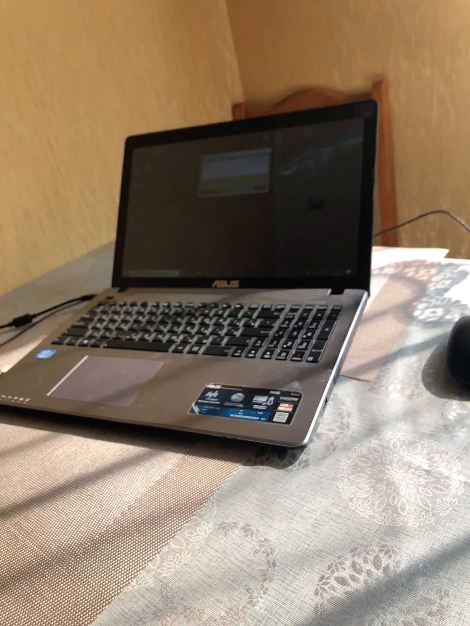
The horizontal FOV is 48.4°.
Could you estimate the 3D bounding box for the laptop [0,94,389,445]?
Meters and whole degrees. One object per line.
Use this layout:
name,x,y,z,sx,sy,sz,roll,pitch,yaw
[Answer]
laptop,-0.055,-0.086,0.604,0.378,0.183,0.399,2,32,26
